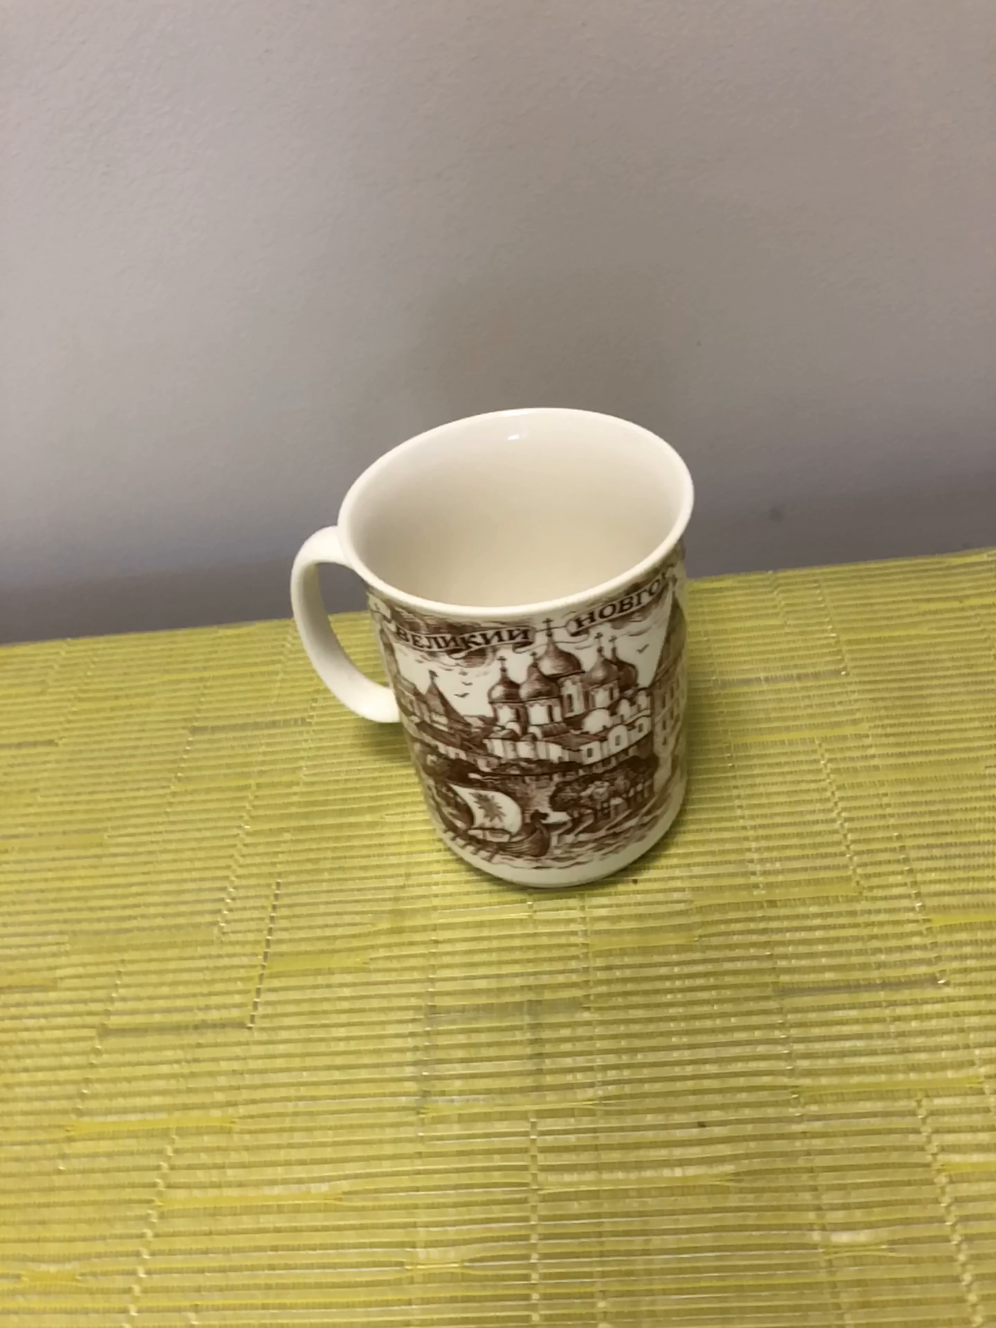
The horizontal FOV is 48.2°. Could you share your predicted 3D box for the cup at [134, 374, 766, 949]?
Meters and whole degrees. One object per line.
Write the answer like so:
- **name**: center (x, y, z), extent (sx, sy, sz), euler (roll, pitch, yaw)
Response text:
- **cup**: center (-0.004, -0.007, 0.297), extent (0.124, 0.092, 0.094), euler (13, 46, 23)
